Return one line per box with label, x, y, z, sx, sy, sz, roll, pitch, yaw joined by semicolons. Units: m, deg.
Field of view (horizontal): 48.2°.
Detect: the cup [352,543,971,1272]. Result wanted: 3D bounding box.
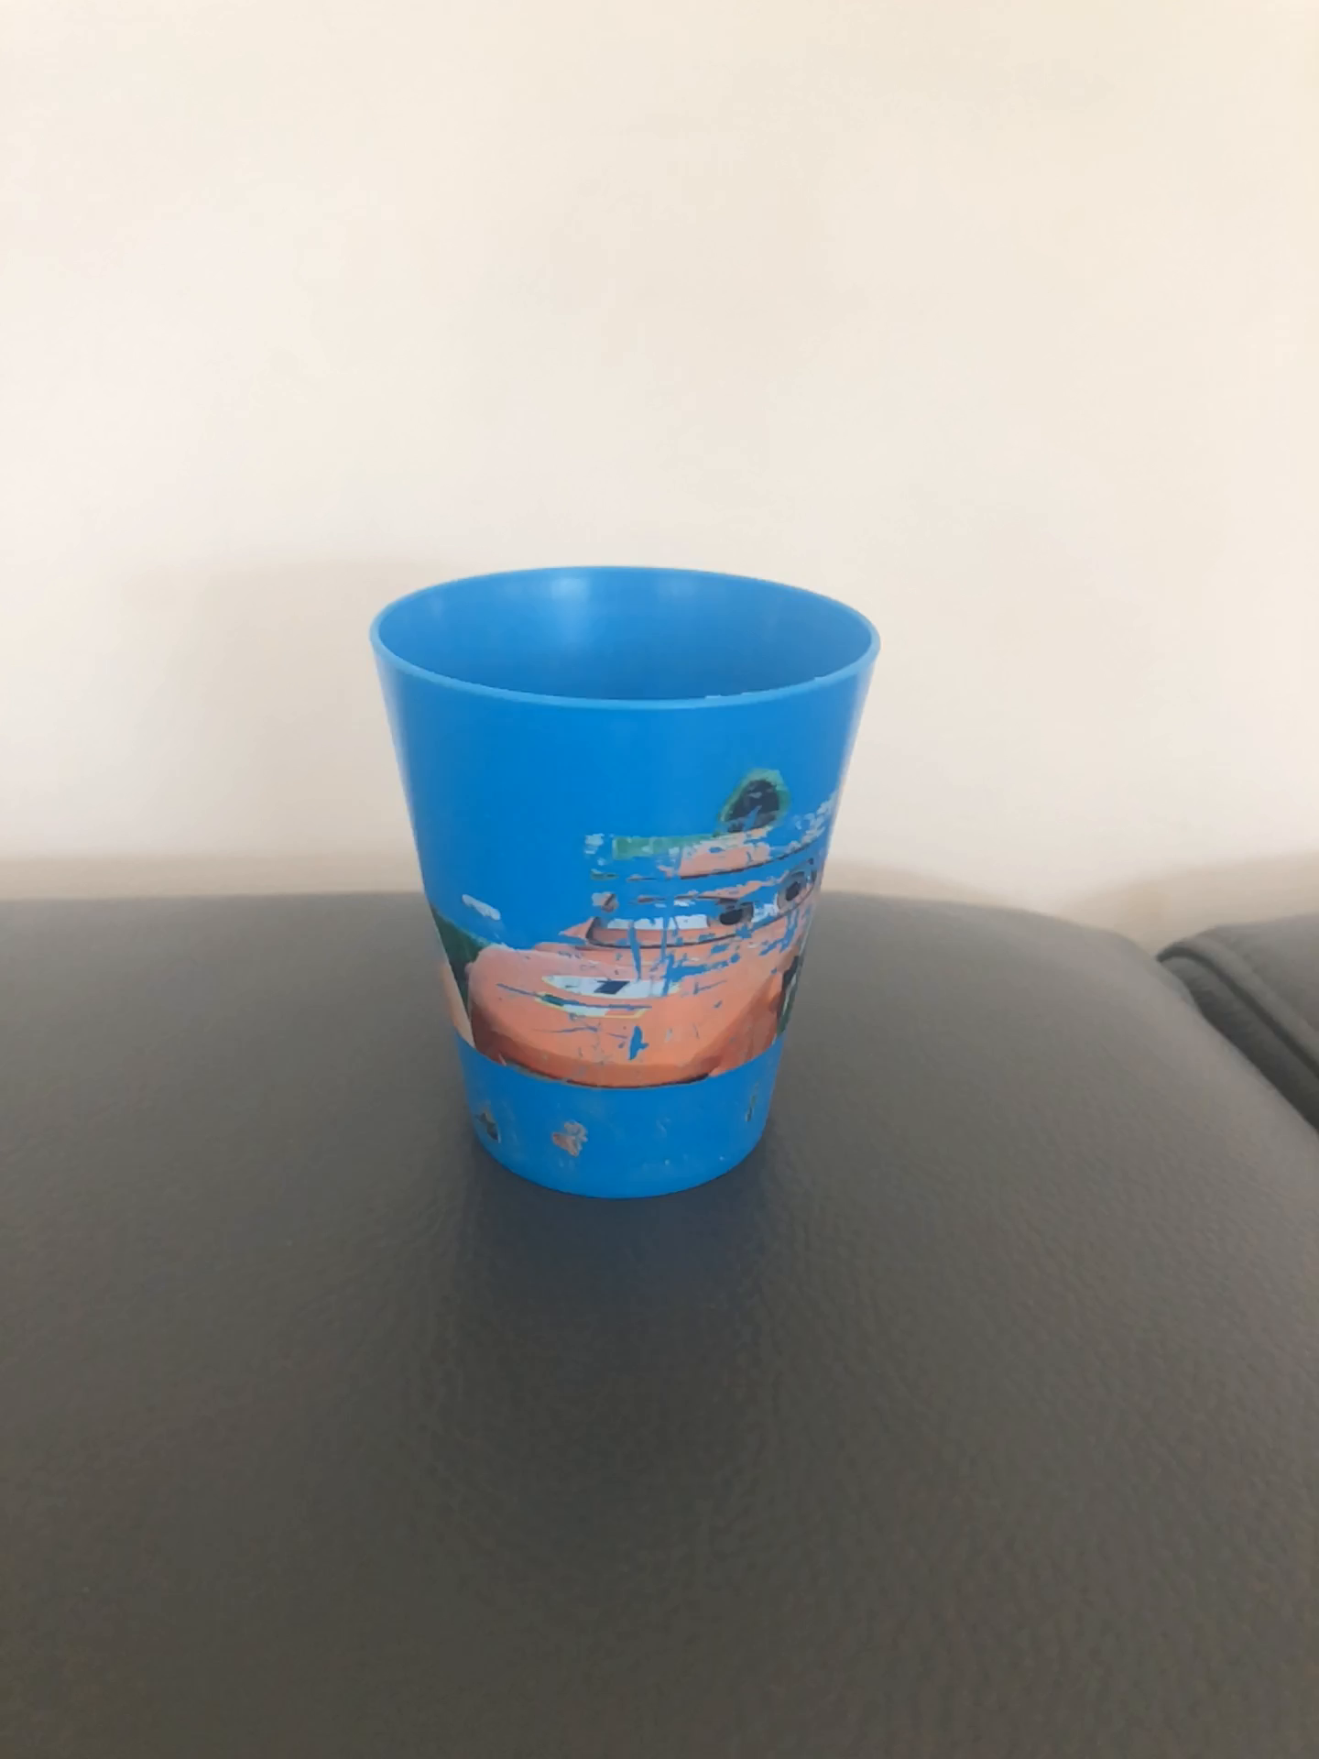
cup;-0.007;0.000;0.243;0.080;0.090;0.080;3;26;-1
